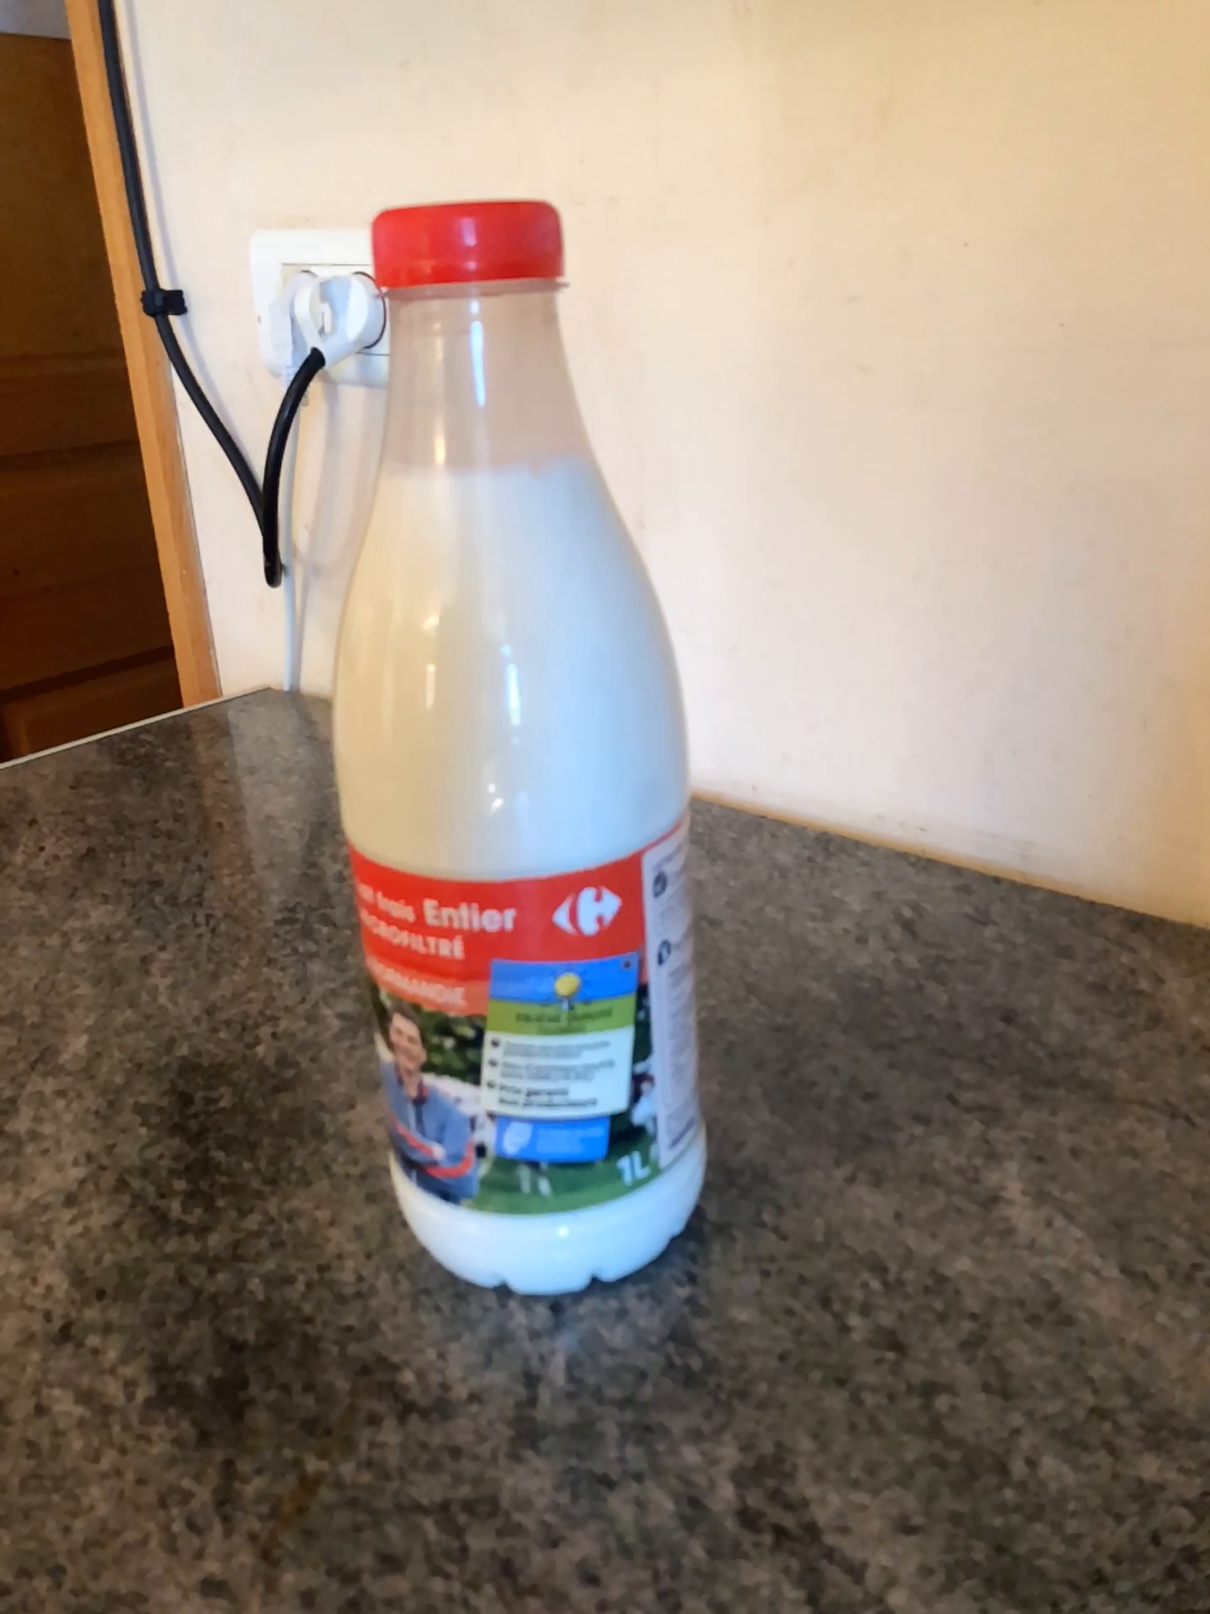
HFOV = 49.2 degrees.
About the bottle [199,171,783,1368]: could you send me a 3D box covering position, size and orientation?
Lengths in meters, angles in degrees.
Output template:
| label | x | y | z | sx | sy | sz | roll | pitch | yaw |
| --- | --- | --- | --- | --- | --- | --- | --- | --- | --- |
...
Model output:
| label | x | y | z | sx | sy | sz | roll | pitch | yaw |
| --- | --- | --- | --- | --- | --- | --- | --- | --- | --- |
| bottle | -0.014 | -0.007 | 0.312 | 0.090 | 0.249 | 0.080 | 7 | 23 | 25 |
